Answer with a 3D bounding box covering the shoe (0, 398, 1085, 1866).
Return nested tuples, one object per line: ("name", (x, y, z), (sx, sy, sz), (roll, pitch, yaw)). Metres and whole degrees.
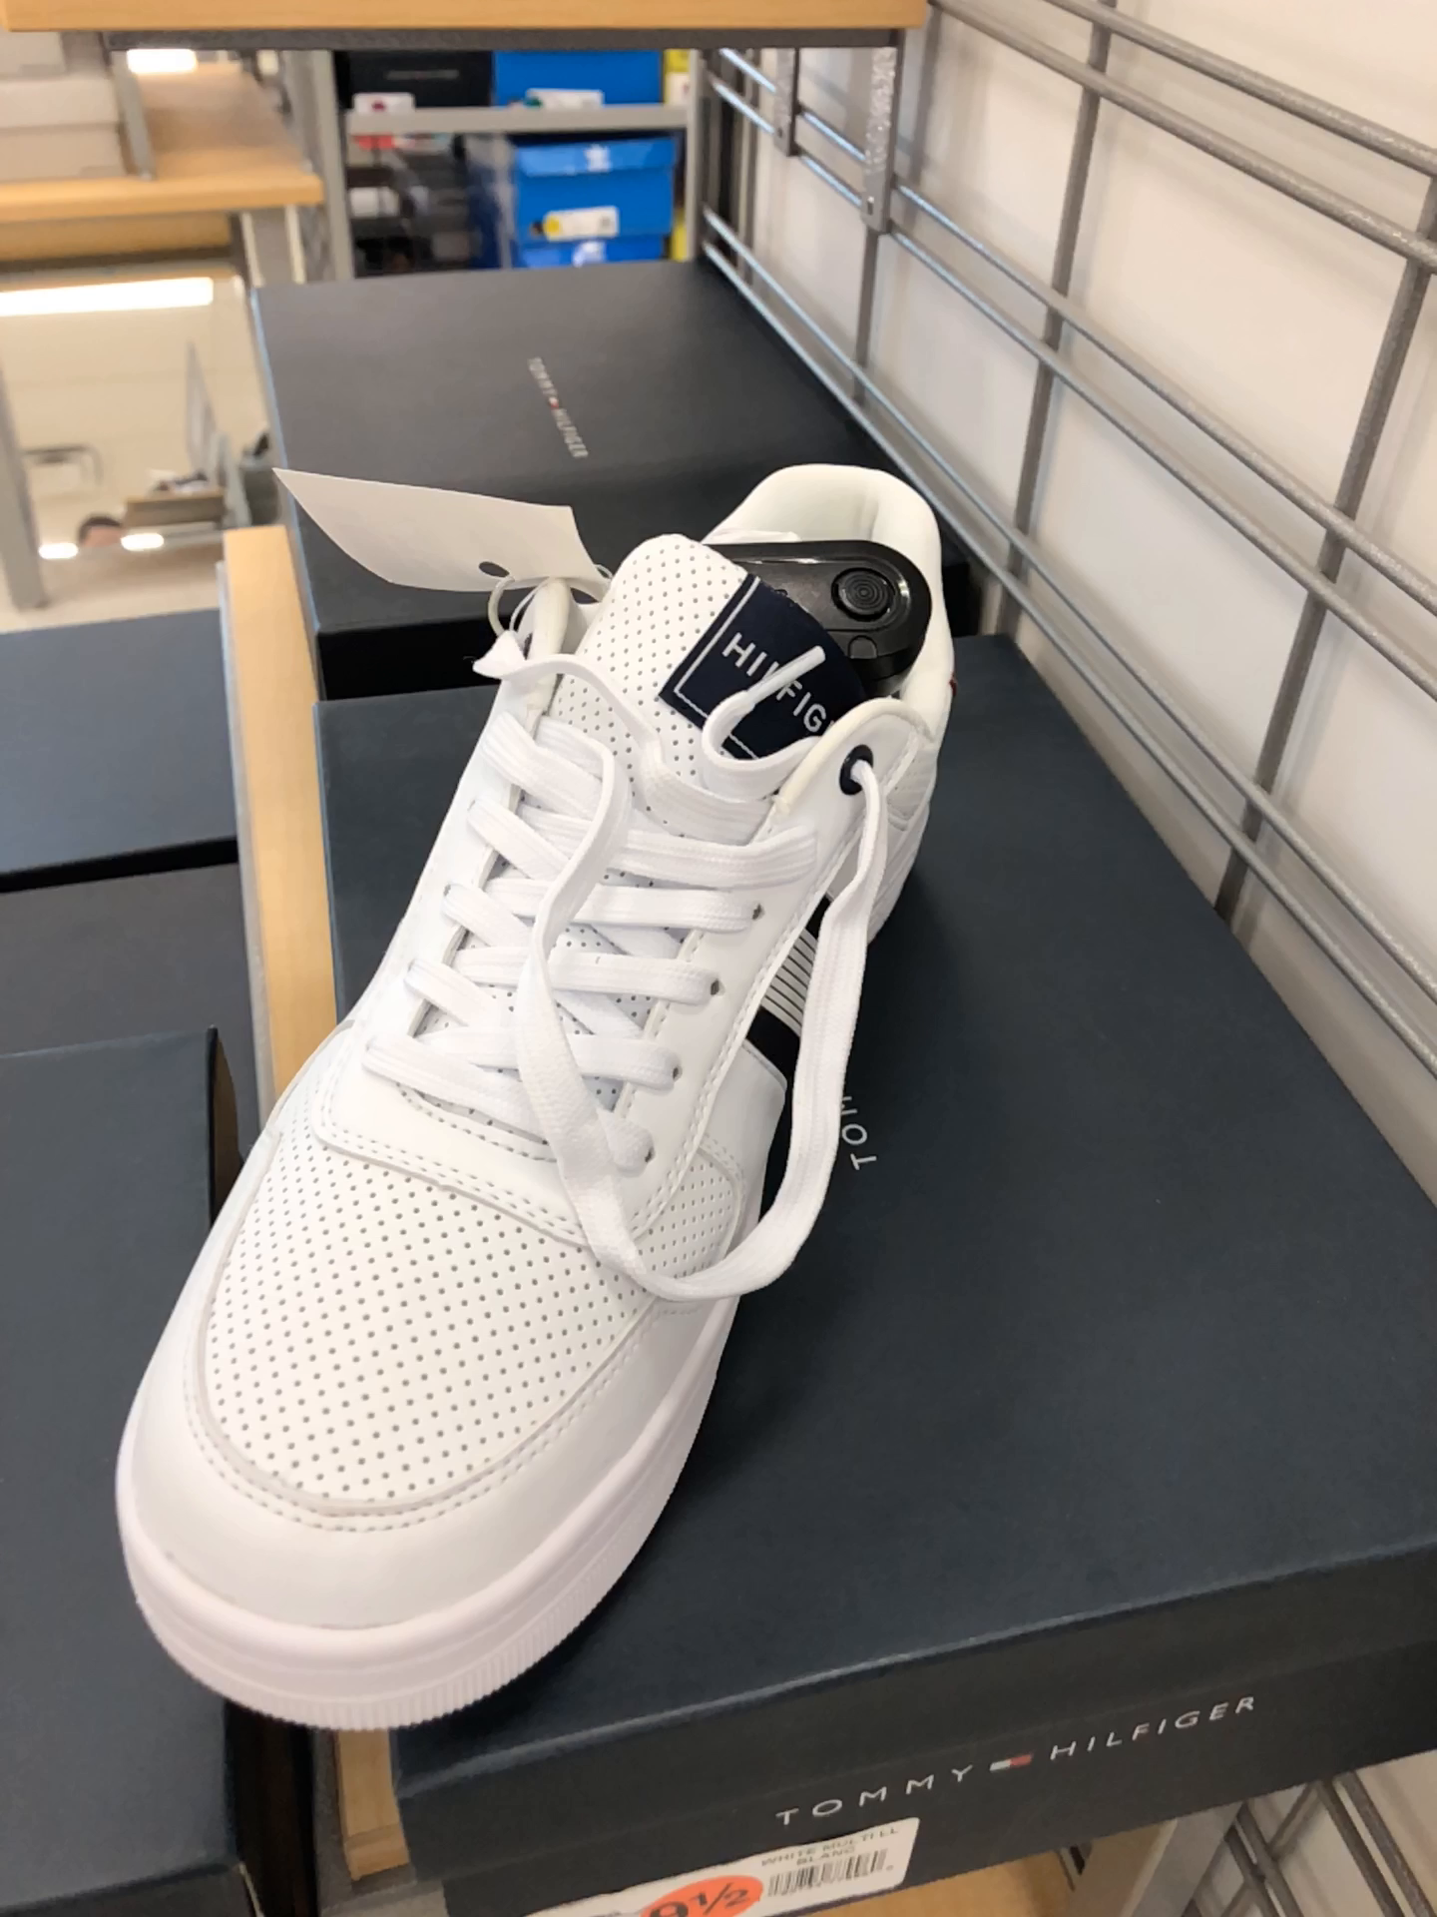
("shoe", (-0.020, -0.002, 0.321), (0.110, 0.109, 0.282), (16, 42, 15))
